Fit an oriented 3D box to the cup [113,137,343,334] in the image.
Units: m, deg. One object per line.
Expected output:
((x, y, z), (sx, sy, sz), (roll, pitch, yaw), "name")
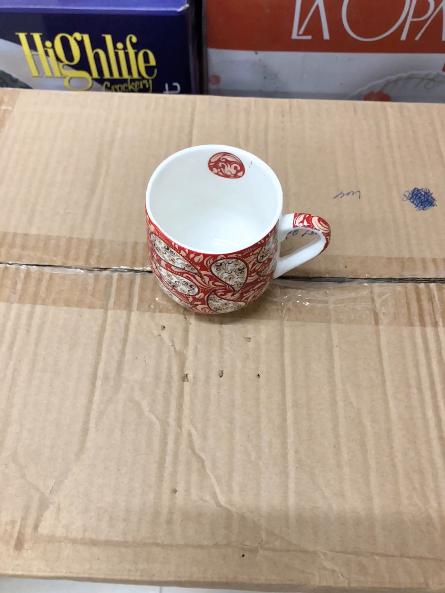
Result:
((0.001, -0.028, 0.239), (0.090, 0.060, 0.070), (-2, 57, -2), "cup")
